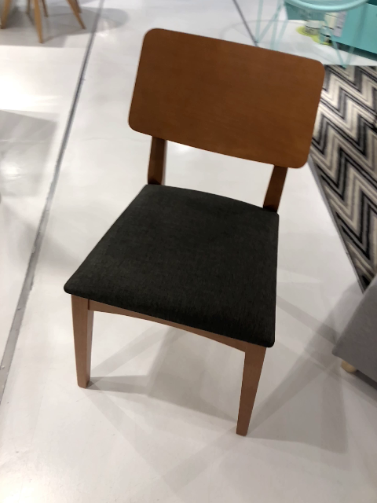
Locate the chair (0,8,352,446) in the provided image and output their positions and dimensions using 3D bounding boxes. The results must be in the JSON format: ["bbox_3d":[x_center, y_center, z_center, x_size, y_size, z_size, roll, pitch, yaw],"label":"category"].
[{"bbox_3d":[-0.003,-0.037,1.029,0.530,0.804,0.584,14,47,10],"label":"chair"}]
